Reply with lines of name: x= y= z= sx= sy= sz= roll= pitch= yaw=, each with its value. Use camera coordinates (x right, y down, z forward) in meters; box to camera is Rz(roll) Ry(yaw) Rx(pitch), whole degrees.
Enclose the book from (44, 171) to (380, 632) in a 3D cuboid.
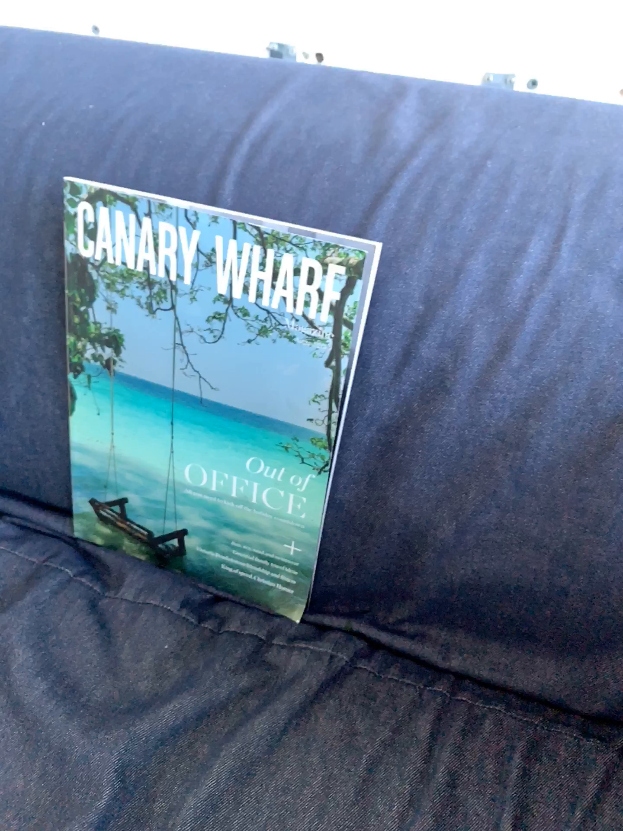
book: x=-0.081 y=-0.003 z=0.436 sx=0.205 sy=0.273 sz=0.030 roll=16 pitch=26 yaw=15
